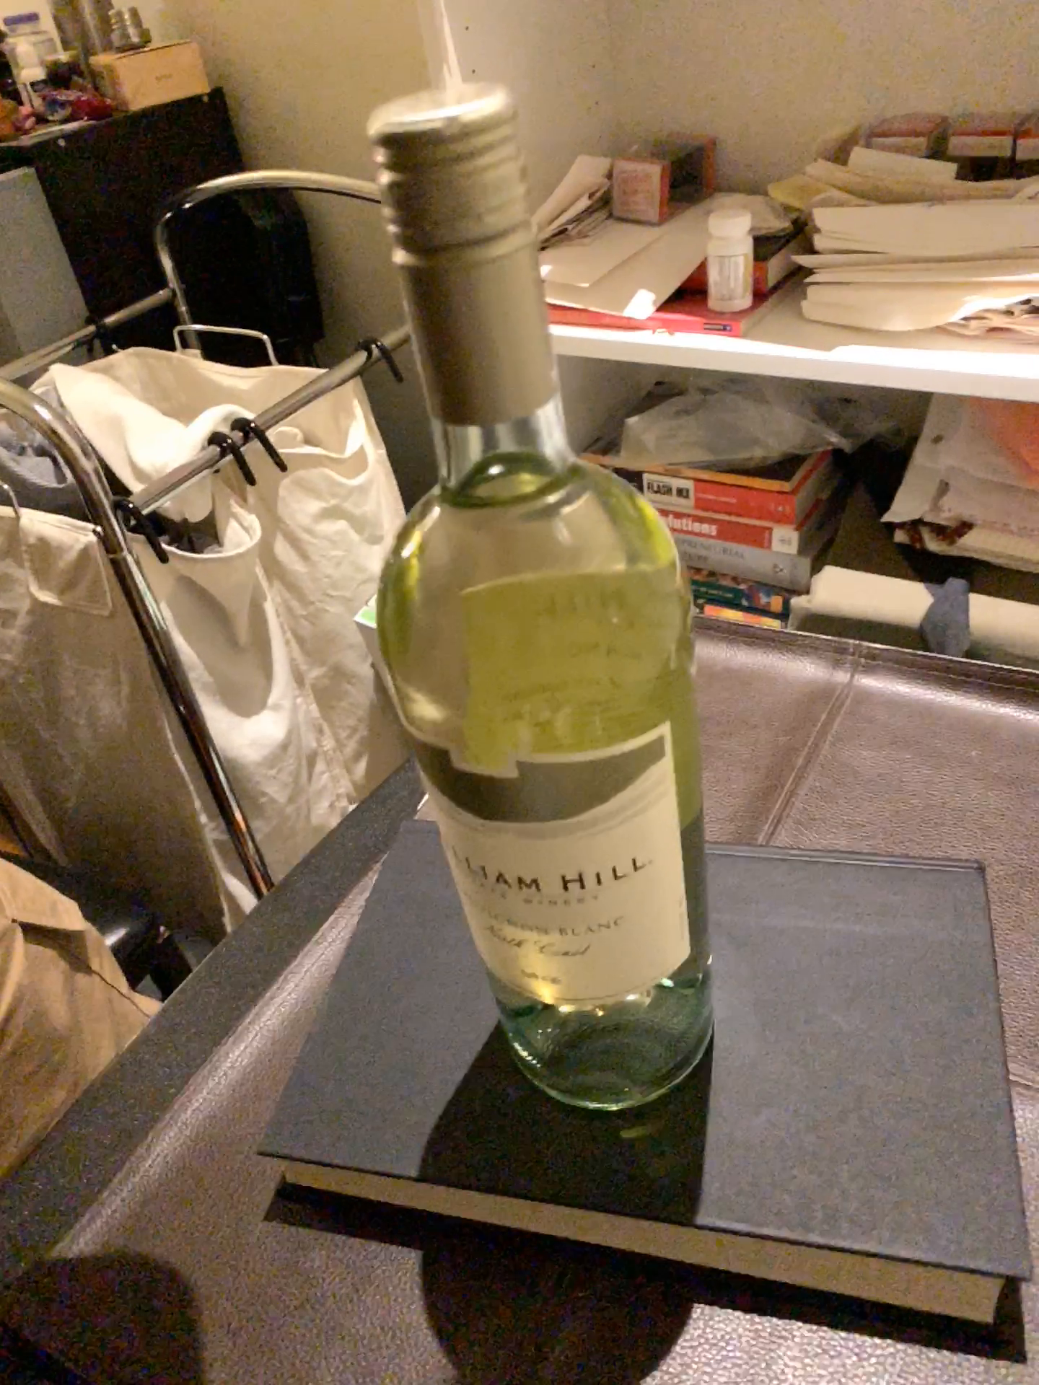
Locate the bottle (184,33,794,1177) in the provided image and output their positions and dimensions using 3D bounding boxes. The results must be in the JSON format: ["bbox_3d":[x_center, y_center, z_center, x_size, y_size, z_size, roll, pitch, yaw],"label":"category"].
[{"bbox_3d":[0.019,0.001,0.299,0.090,0.298,0.090,-7,37,5],"label":"bottle"}]
